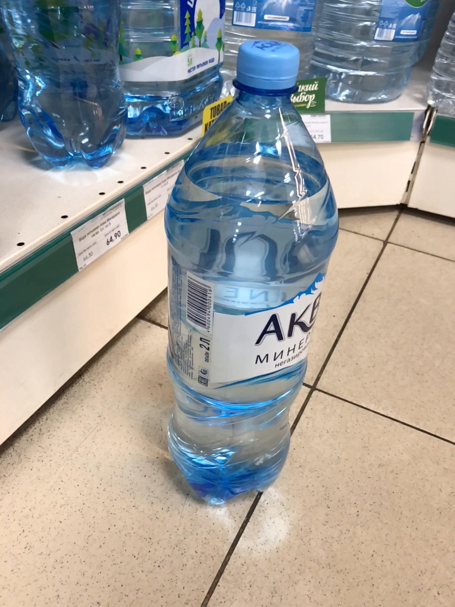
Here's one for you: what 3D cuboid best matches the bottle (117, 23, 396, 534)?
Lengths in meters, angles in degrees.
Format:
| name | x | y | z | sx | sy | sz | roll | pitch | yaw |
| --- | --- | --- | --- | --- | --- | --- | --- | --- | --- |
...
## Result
| name | x | y | z | sx | sy | sz | roll | pitch | yaw |
| --- | --- | --- | --- | --- | --- | --- | --- | --- | --- |
| bottle | 0.011 | 0.007 | 0.338 | 0.088 | 0.322 | 0.106 | 26 | 44 | 26 |
